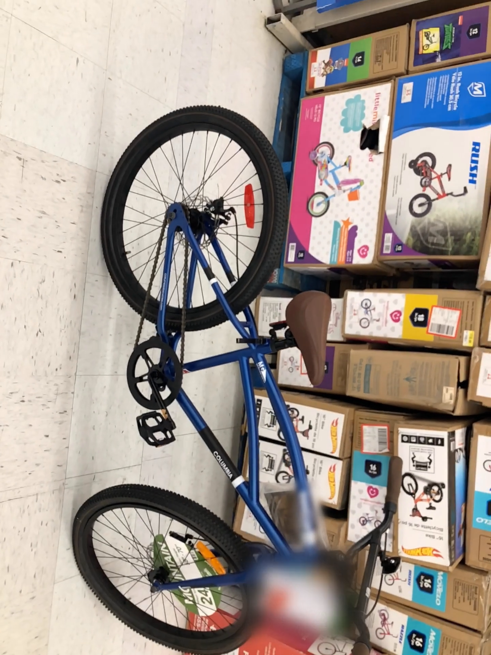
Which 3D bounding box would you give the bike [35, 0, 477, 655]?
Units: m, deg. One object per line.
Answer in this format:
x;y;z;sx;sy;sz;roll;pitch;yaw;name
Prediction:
0.017;0.202;1.458;0.652;0.928;1.552;-6;99;-55;bike
